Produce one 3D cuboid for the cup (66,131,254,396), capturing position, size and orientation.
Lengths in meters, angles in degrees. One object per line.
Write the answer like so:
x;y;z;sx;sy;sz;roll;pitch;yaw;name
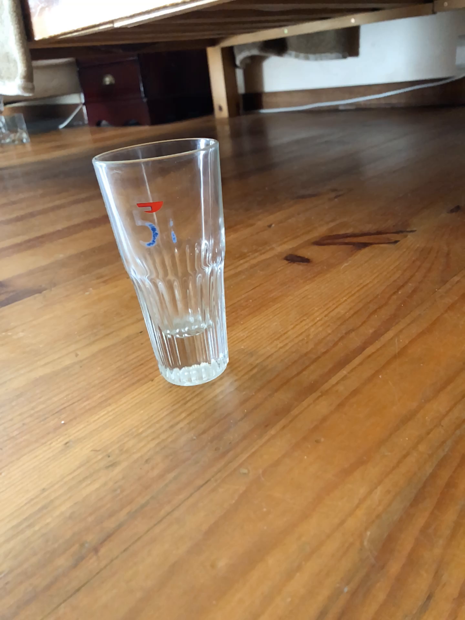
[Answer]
-0.029;-0.025;0.268;0.064;0.117;0.069;-6;24;3;cup
